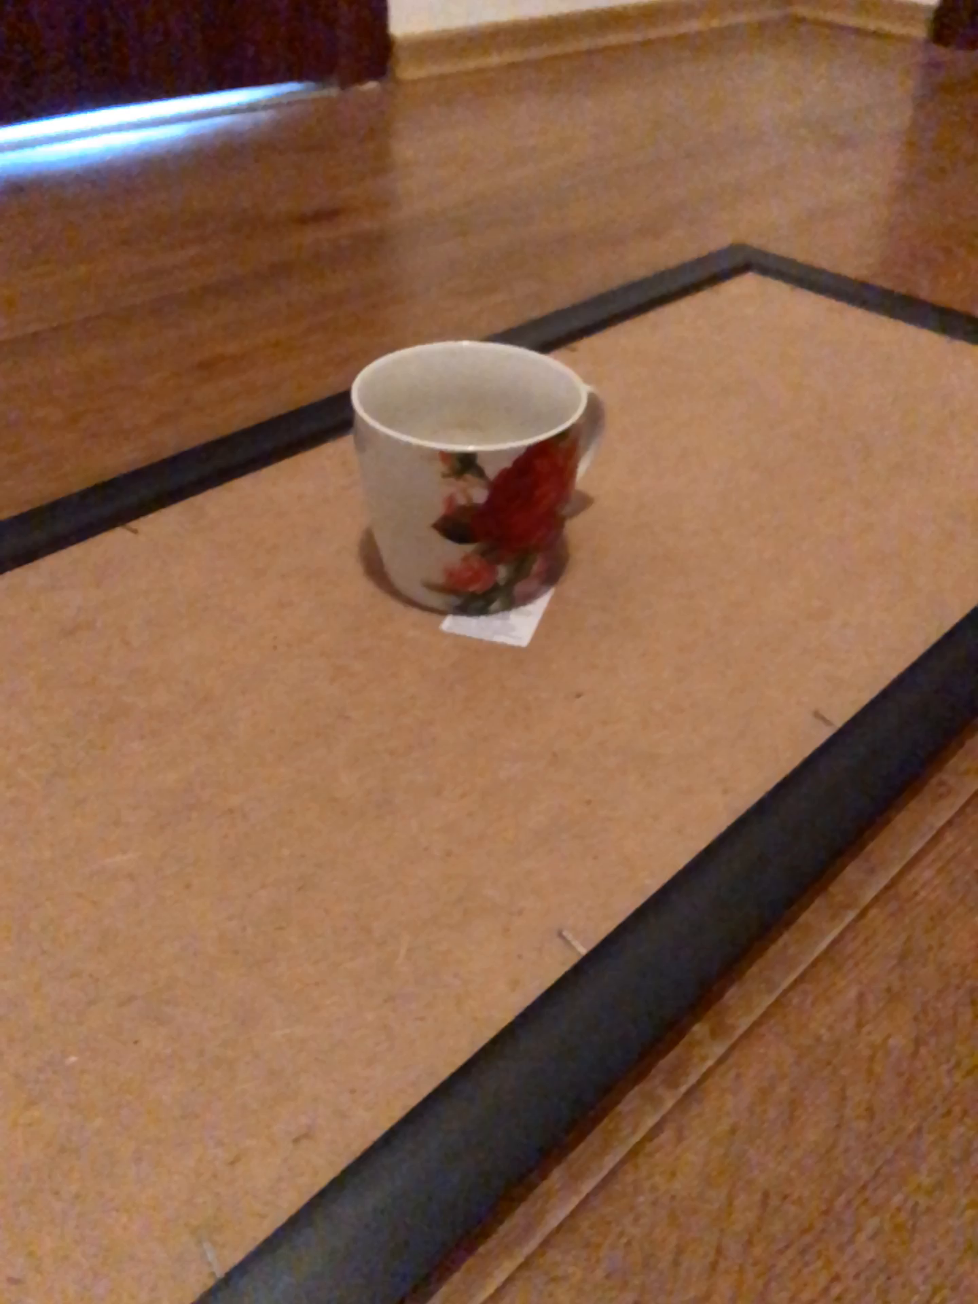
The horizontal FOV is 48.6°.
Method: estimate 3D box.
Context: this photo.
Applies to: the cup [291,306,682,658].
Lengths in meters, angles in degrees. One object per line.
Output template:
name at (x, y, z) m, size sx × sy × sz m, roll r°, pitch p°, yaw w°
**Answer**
cup at (0.000, -0.077, 0.453) m, size 0.098 × 0.079 × 0.122 m, roll 32°, pitch 47°, yaw 33°
